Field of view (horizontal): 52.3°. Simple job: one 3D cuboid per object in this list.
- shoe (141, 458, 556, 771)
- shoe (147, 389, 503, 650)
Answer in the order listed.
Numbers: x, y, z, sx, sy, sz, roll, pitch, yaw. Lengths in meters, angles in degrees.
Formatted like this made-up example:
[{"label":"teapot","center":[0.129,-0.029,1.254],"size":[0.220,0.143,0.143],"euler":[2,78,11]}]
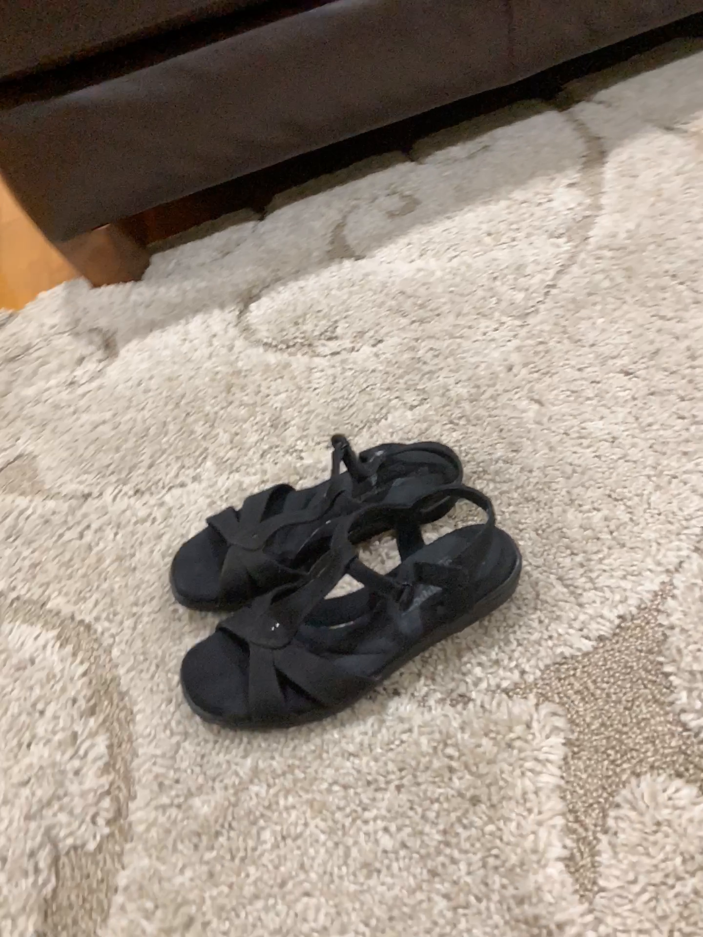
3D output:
[{"label":"shoe","center":[-0.004,0.088,0.461],"size":[0.241,0.059,0.101],"euler":[-21,43,-4]},{"label":"shoe","center":[-0.021,0.034,0.536],"size":[0.241,0.059,0.101],"euler":[-21,43,-4]}]
